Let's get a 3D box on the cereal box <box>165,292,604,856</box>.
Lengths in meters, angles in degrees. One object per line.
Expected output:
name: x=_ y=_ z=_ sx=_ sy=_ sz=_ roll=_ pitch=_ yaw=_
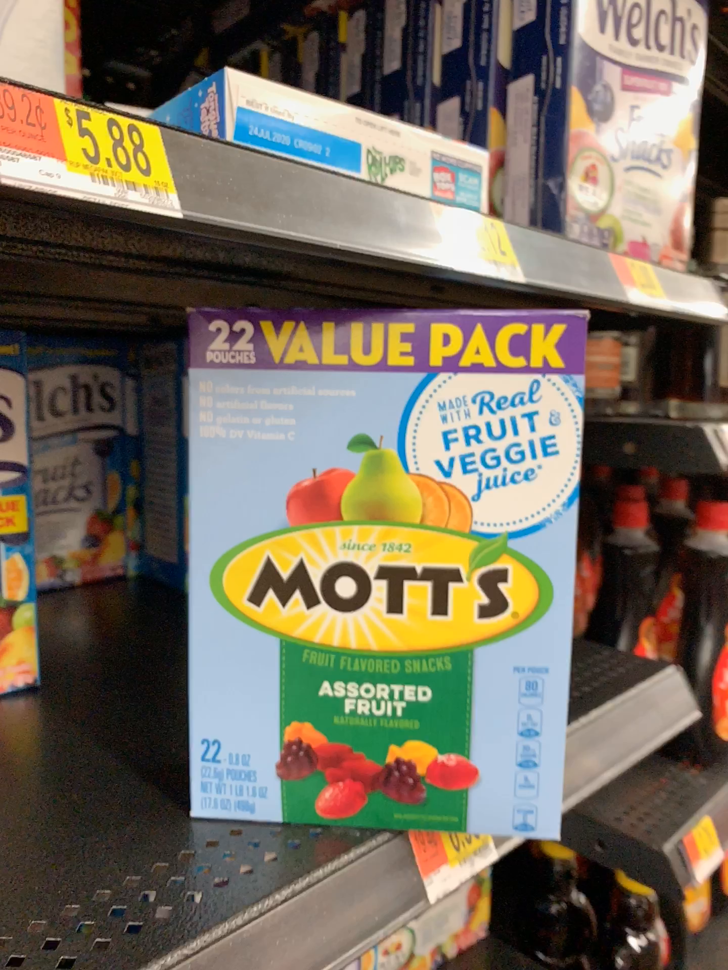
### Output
cereal box: x=0.005 y=0.038 z=0.356 sx=0.180 sy=0.240 sz=0.060 roll=2 pitch=7 yaw=3
